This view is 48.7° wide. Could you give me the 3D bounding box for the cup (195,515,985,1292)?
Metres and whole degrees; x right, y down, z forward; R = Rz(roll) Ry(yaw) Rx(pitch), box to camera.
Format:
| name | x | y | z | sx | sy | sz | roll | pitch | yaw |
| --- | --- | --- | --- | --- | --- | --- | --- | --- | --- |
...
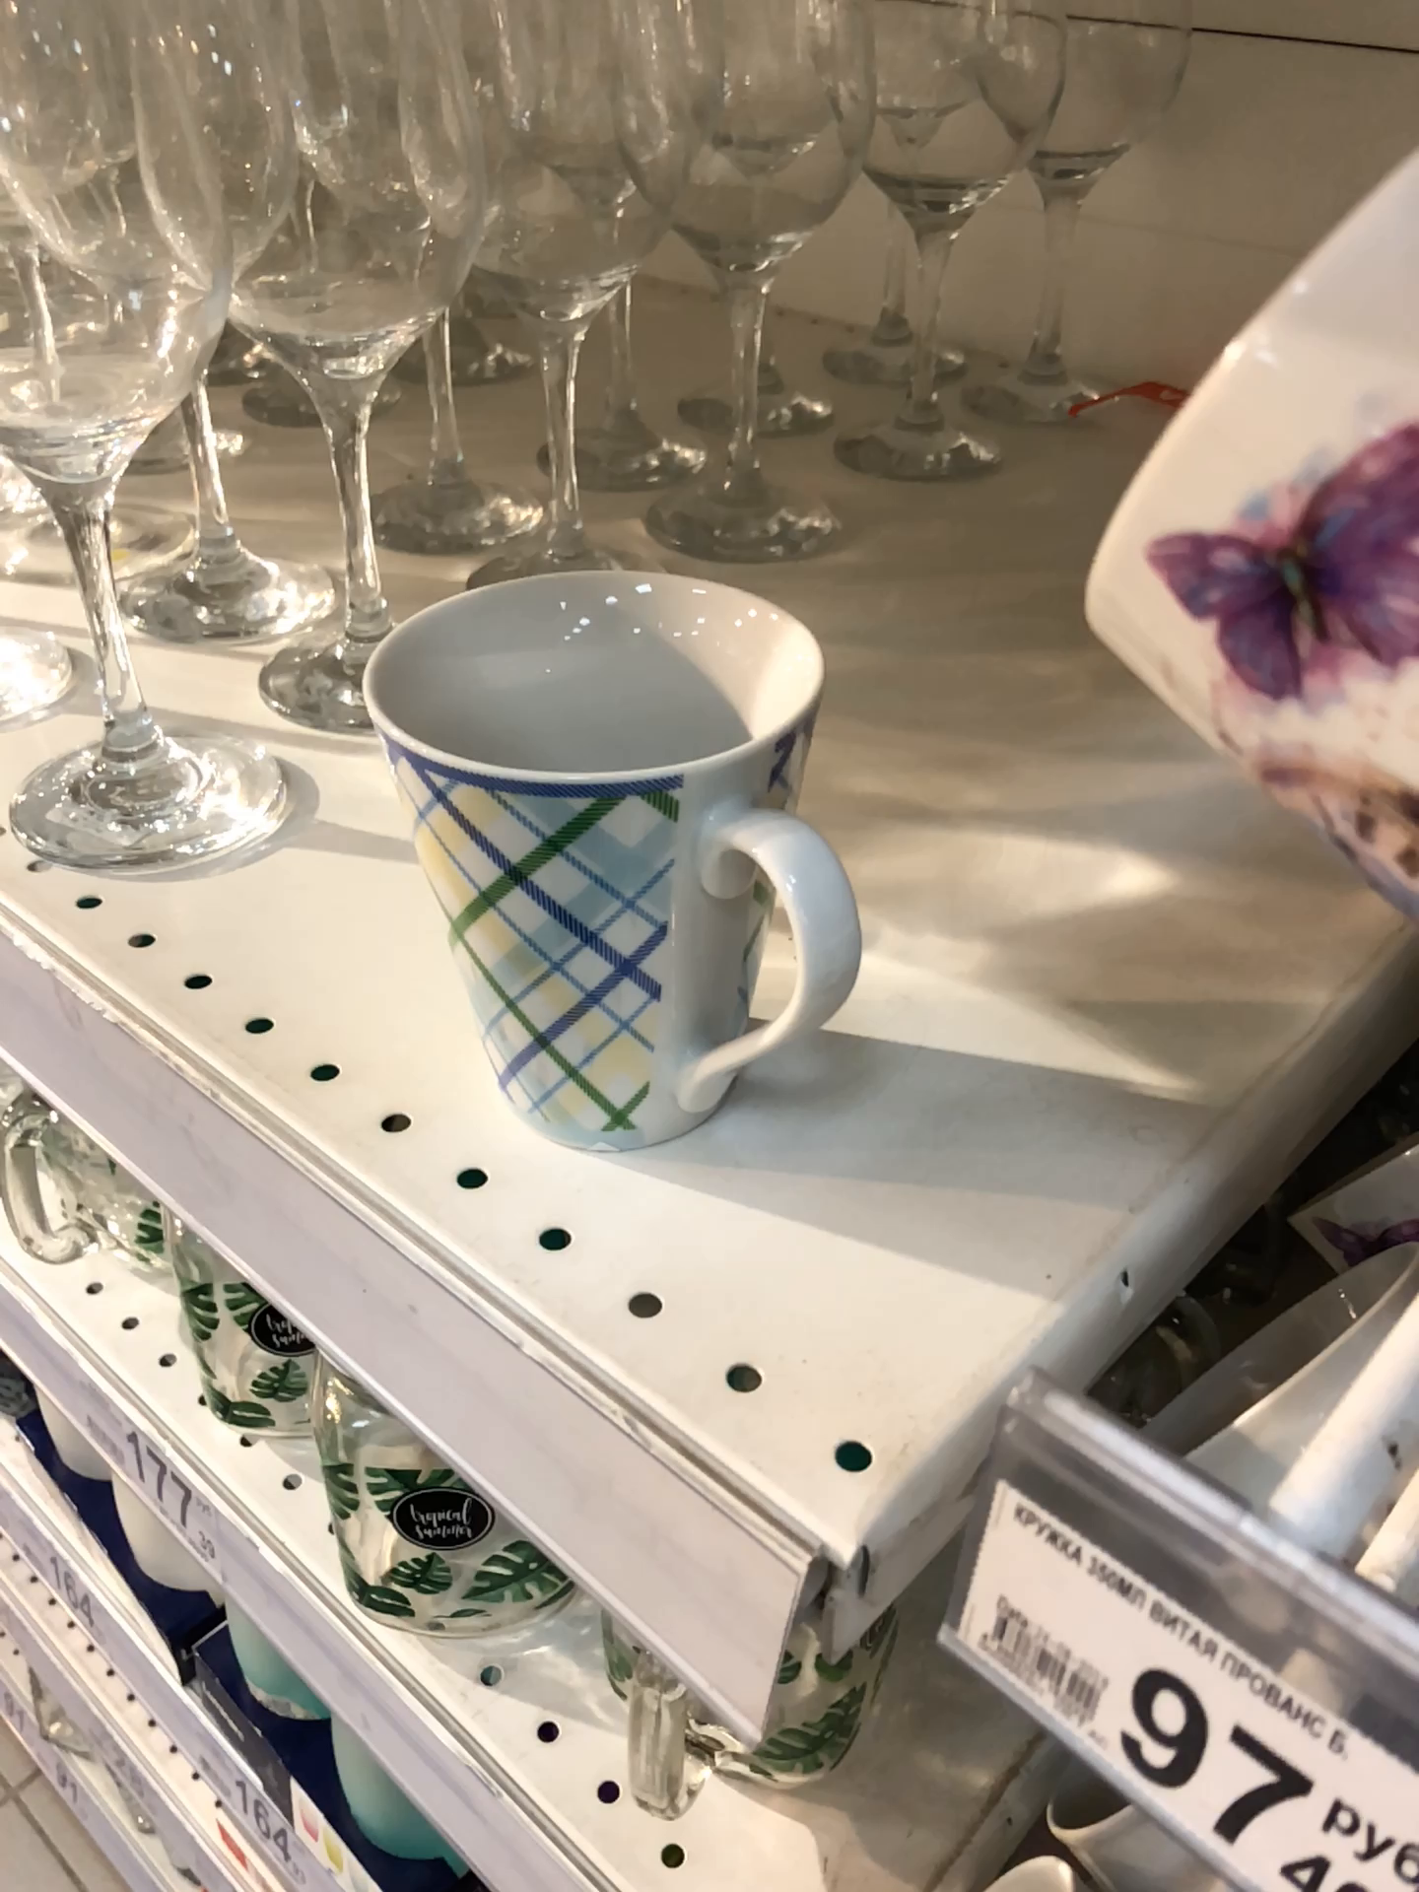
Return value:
| name | x | y | z | sx | sy | sz | roll | pitch | yaw |
| --- | --- | --- | --- | --- | --- | --- | --- | --- | --- |
| cup | -0.024 | -0.017 | 0.307 | 0.088 | 0.085 | 0.116 | -30 | 45 | -34 |
